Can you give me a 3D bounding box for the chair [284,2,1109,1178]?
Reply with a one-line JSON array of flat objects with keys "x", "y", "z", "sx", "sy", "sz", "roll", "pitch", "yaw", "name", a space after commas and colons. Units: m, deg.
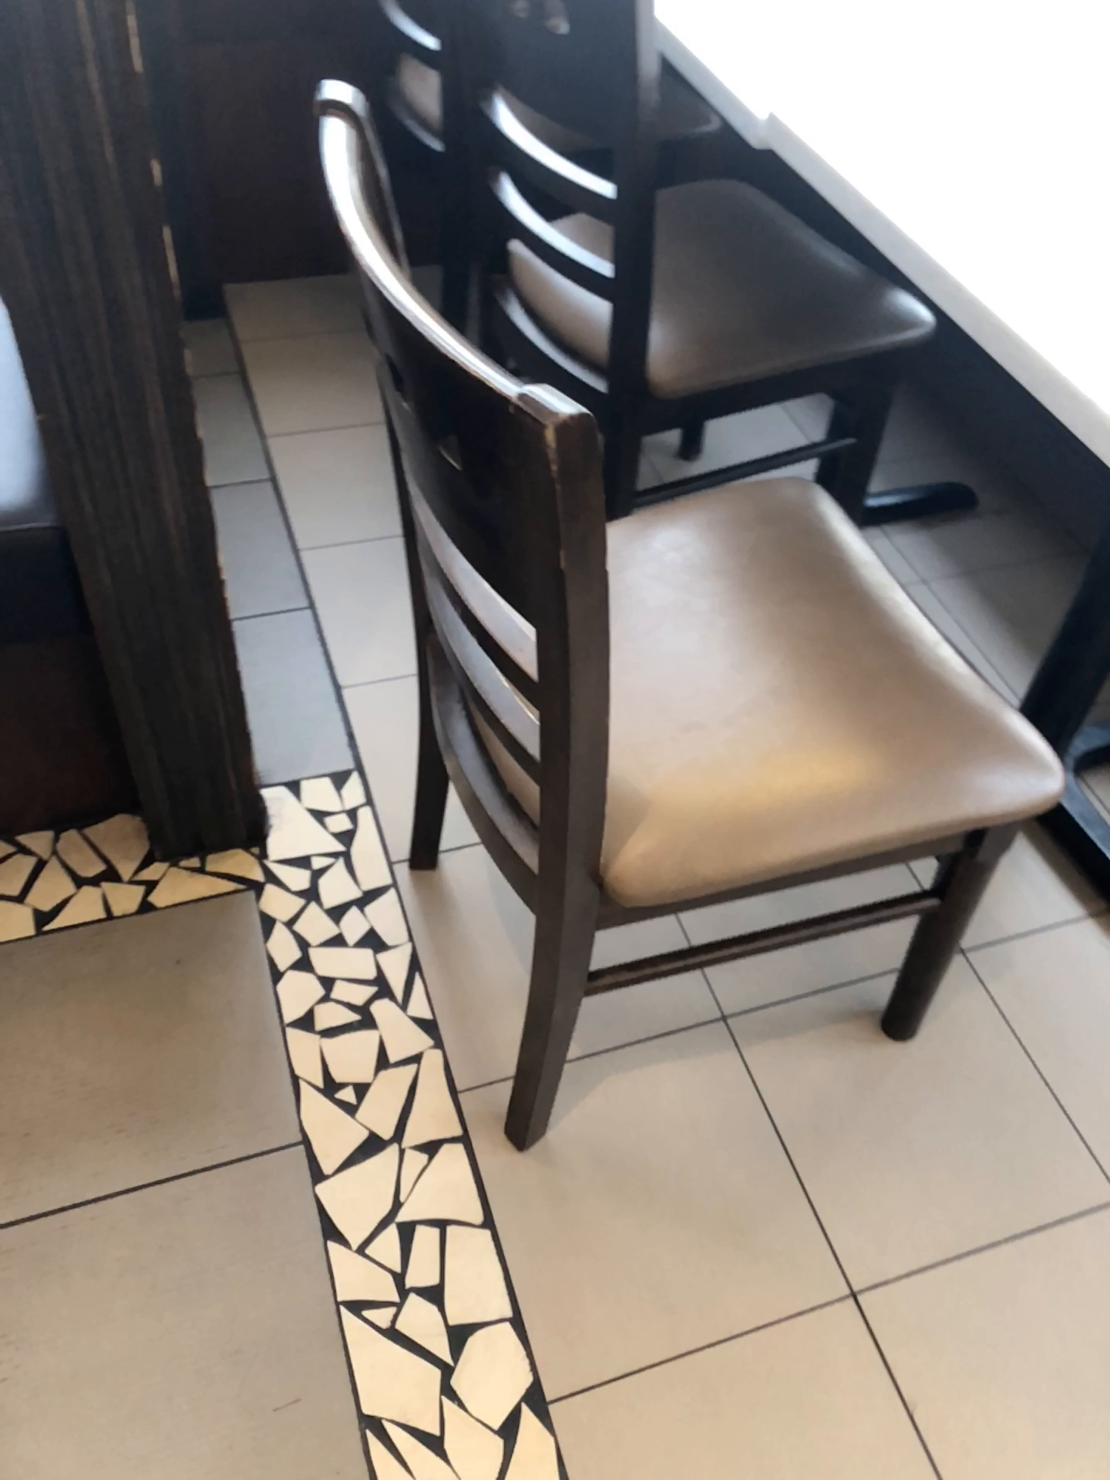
[{"x": 0.149, "y": -0.097, "z": 0.978, "sx": 0.570, "sy": 0.715, "sz": 0.473, "roll": -12, "pitch": 51, "yaw": -15, "name": "chair"}]
